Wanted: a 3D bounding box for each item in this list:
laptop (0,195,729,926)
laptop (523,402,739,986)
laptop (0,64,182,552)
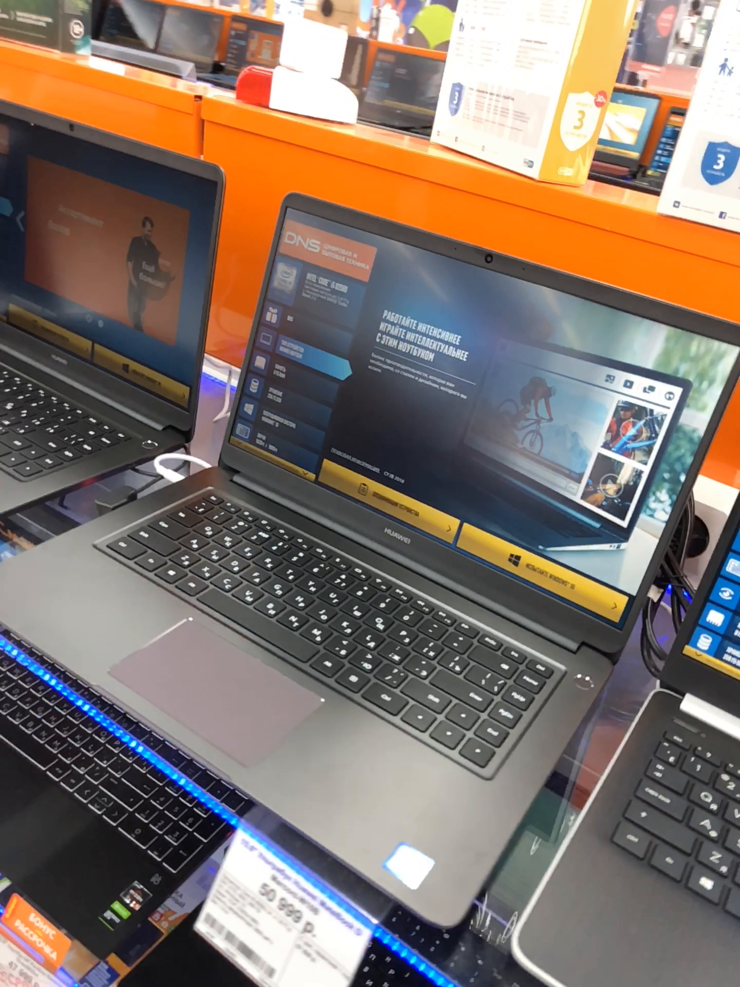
[{"bbox_3d":[-0.021,-0.018,0.485,0.339,0.212,0.288,25,33,24],"label":"laptop"},{"bbox_3d":[0.263,0.119,0.323,0.270,0.195,0.244,24,33,30],"label":"laptop"},{"bbox_3d":[-0.353,-0.175,0.648,0.356,0.230,0.242,25,31,24],"label":"laptop"}]
